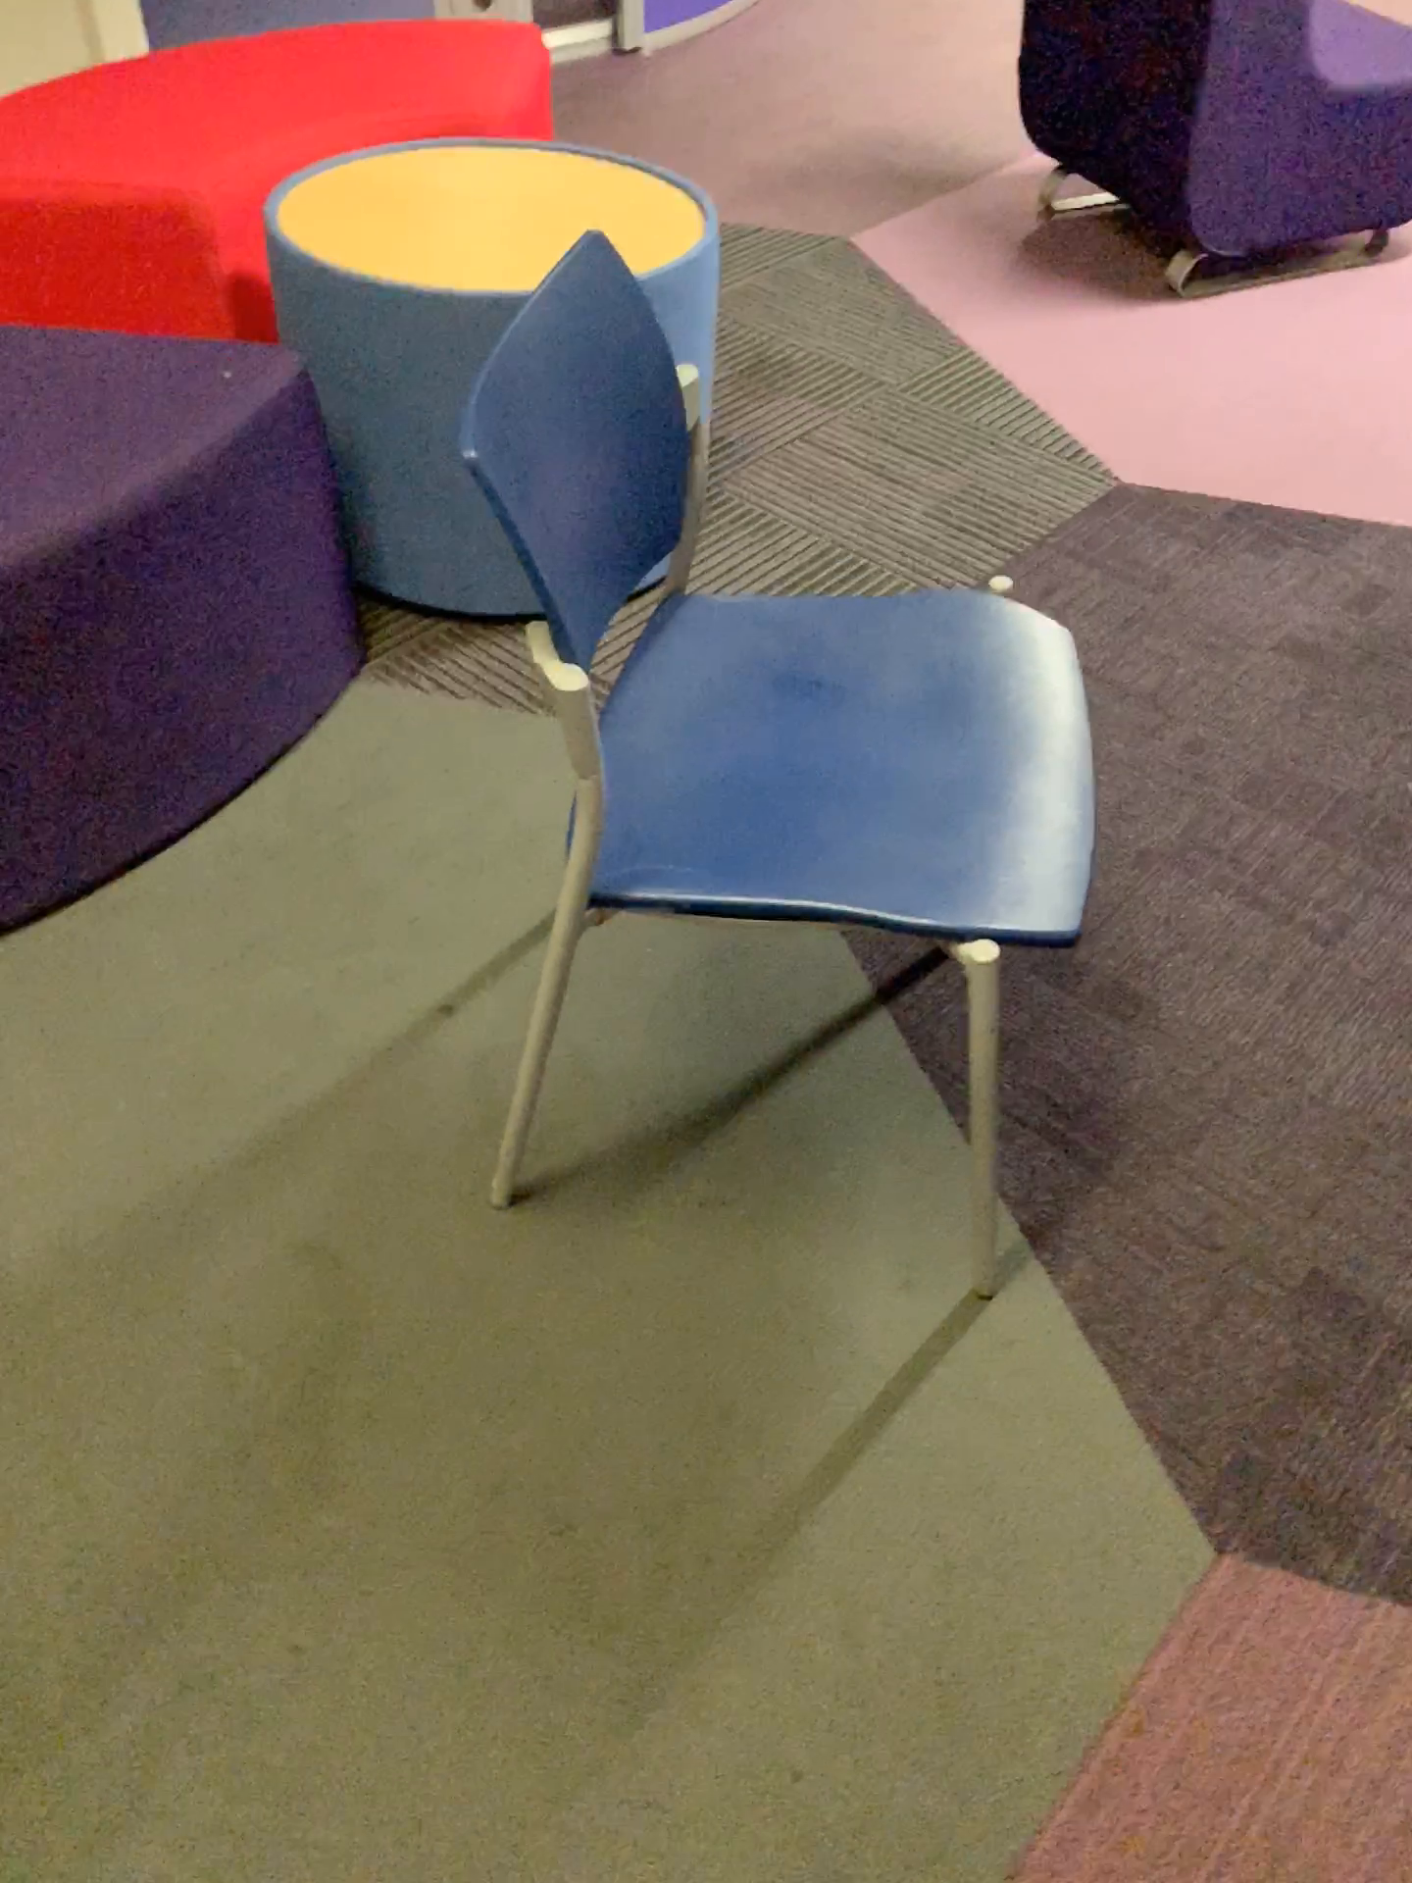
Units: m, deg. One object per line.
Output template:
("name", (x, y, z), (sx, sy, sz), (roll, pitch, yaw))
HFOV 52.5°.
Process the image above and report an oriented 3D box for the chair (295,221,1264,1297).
("chair", (0.074, -0.152, 1.280), (0.570, 0.693, 0.565), (7, 47, 6))
